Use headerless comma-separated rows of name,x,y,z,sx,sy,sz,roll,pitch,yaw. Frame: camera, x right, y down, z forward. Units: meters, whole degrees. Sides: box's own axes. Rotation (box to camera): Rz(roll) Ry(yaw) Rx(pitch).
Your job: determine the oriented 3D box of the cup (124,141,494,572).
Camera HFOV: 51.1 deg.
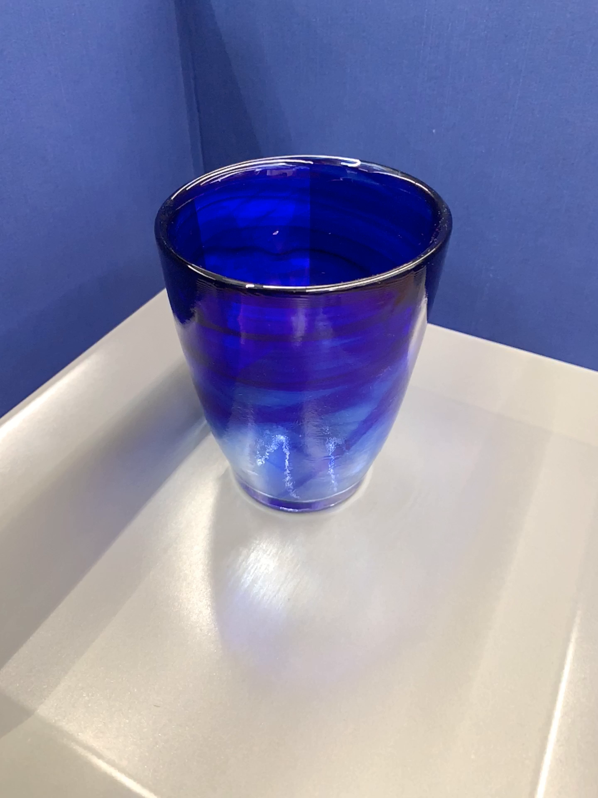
cup,-0.003,-0.017,0.221,0.087,0.111,0.082,0,39,0
